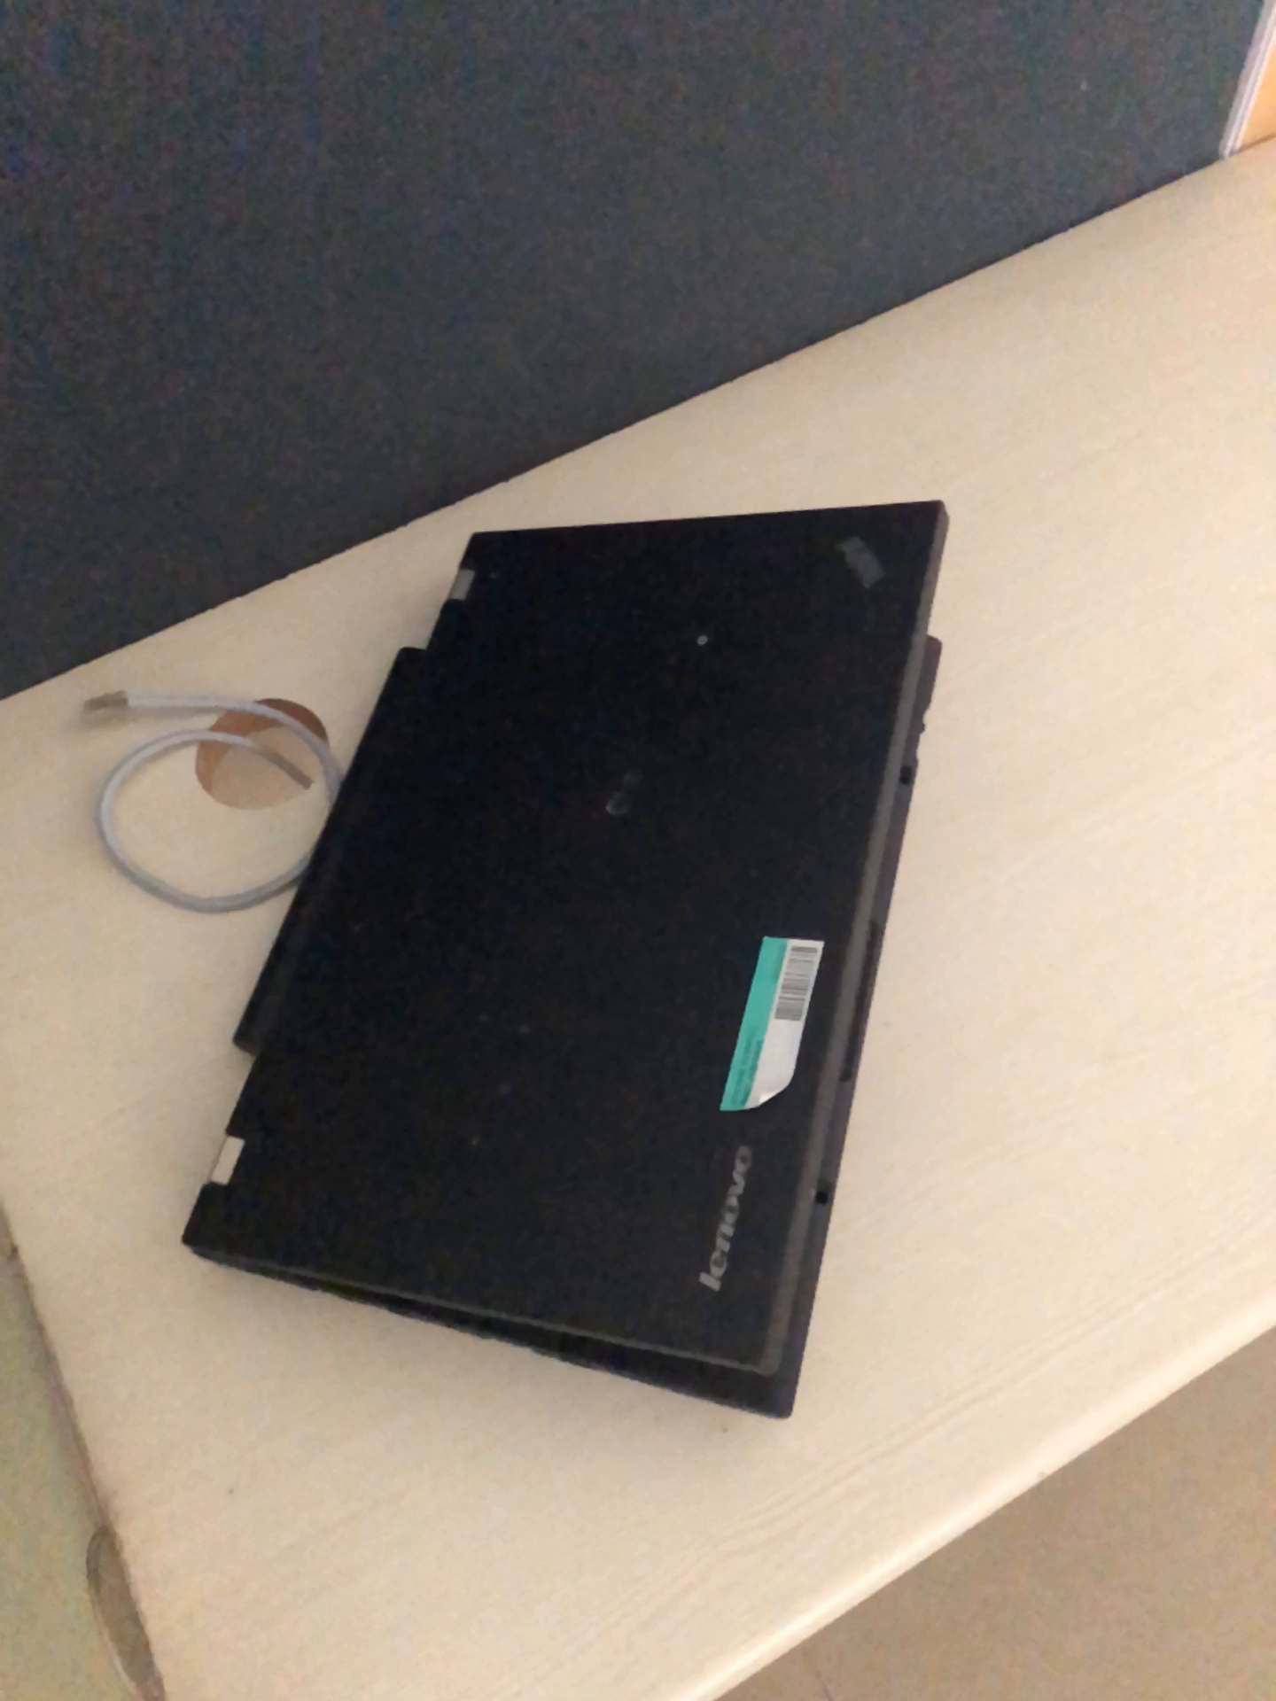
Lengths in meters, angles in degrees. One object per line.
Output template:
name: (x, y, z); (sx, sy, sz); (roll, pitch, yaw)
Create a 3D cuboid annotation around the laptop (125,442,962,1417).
laptop: (-0.014, 0.009, 0.580); (0.234, 0.077, 0.365); (12, 62, 8)
